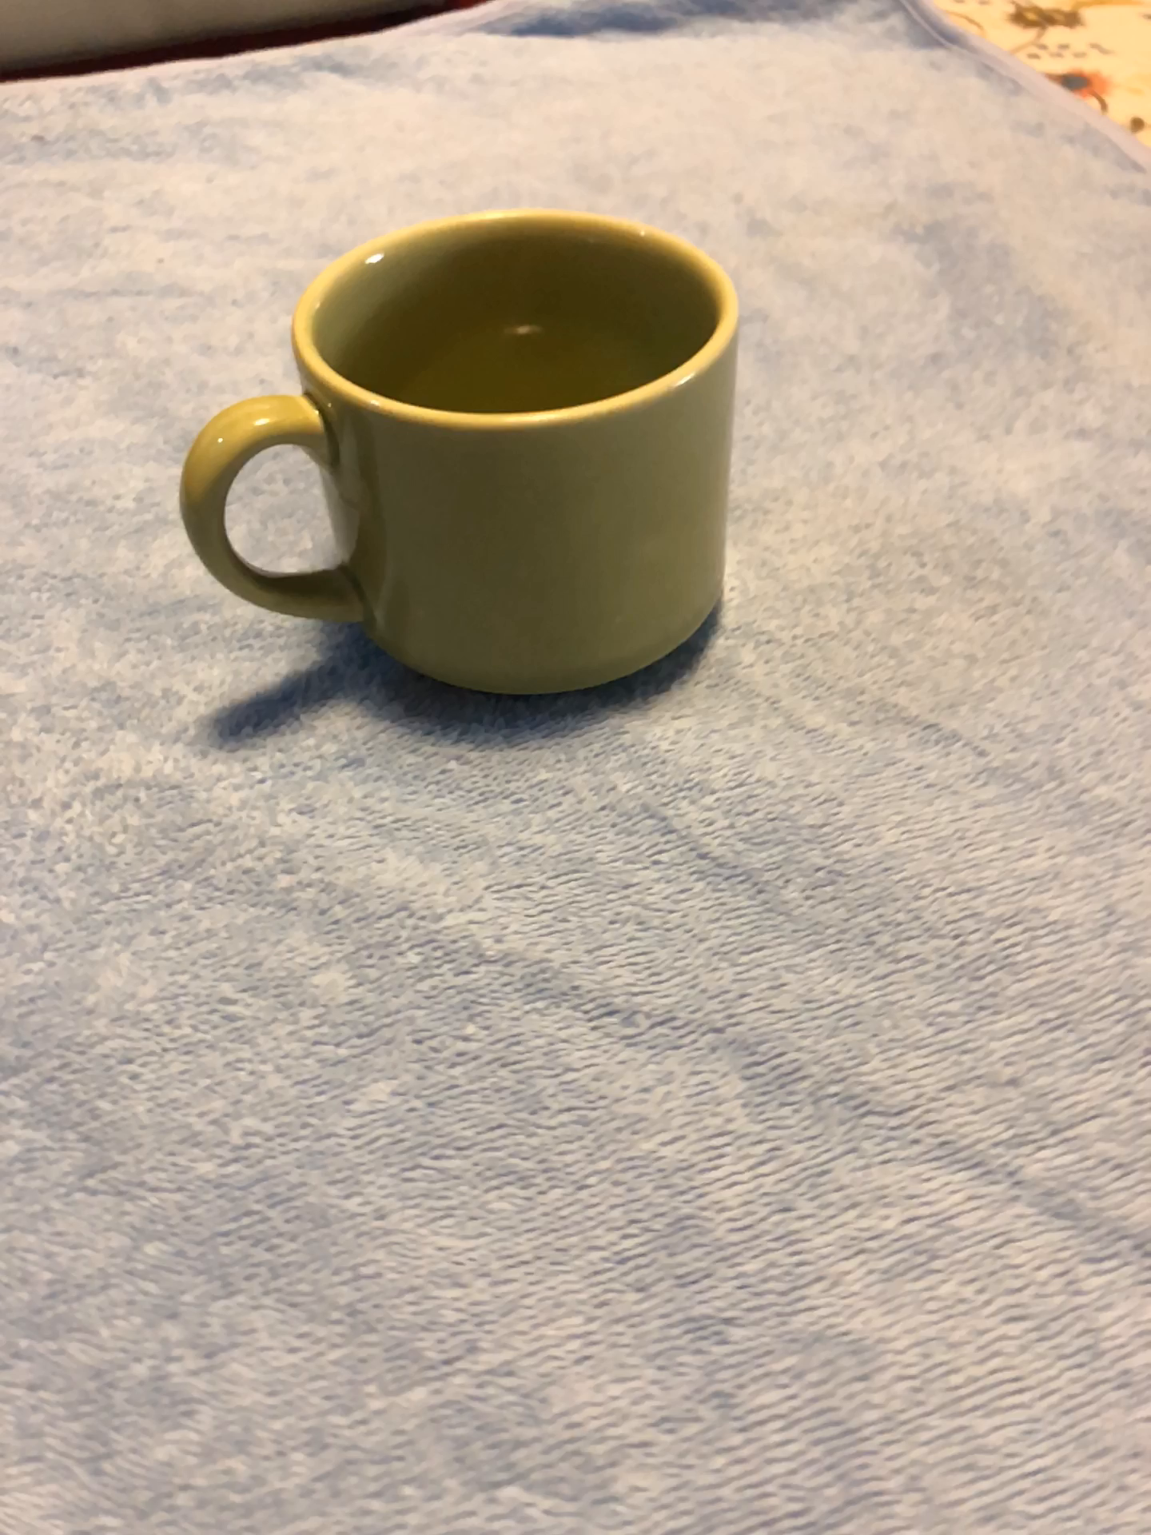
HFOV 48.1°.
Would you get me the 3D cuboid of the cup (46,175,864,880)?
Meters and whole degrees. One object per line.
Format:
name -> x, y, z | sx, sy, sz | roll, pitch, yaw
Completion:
cup -> -0.021, -0.052, 0.242 | 0.110, 0.060, 0.090 | -27, 50, -20
